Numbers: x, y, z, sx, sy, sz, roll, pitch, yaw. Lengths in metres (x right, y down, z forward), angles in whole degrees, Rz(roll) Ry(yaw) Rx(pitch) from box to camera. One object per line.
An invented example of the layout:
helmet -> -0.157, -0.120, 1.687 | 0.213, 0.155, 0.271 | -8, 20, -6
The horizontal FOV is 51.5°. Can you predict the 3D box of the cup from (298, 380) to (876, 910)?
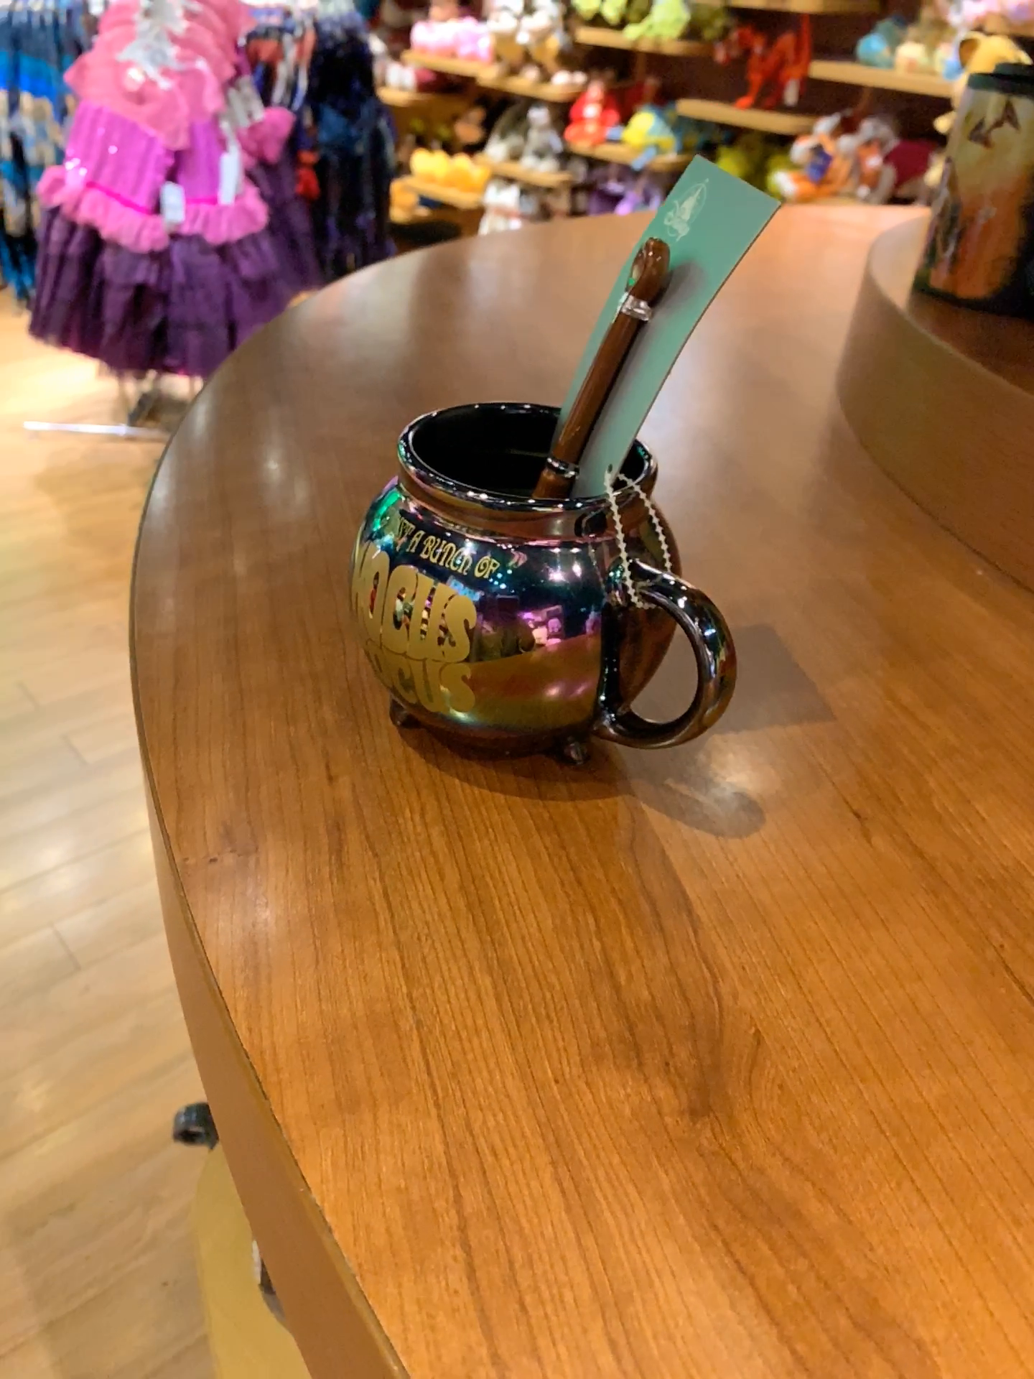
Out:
cup -> 0.015, -0.025, 0.334 | 0.100, 0.089, 0.136 | -26, 44, -38
